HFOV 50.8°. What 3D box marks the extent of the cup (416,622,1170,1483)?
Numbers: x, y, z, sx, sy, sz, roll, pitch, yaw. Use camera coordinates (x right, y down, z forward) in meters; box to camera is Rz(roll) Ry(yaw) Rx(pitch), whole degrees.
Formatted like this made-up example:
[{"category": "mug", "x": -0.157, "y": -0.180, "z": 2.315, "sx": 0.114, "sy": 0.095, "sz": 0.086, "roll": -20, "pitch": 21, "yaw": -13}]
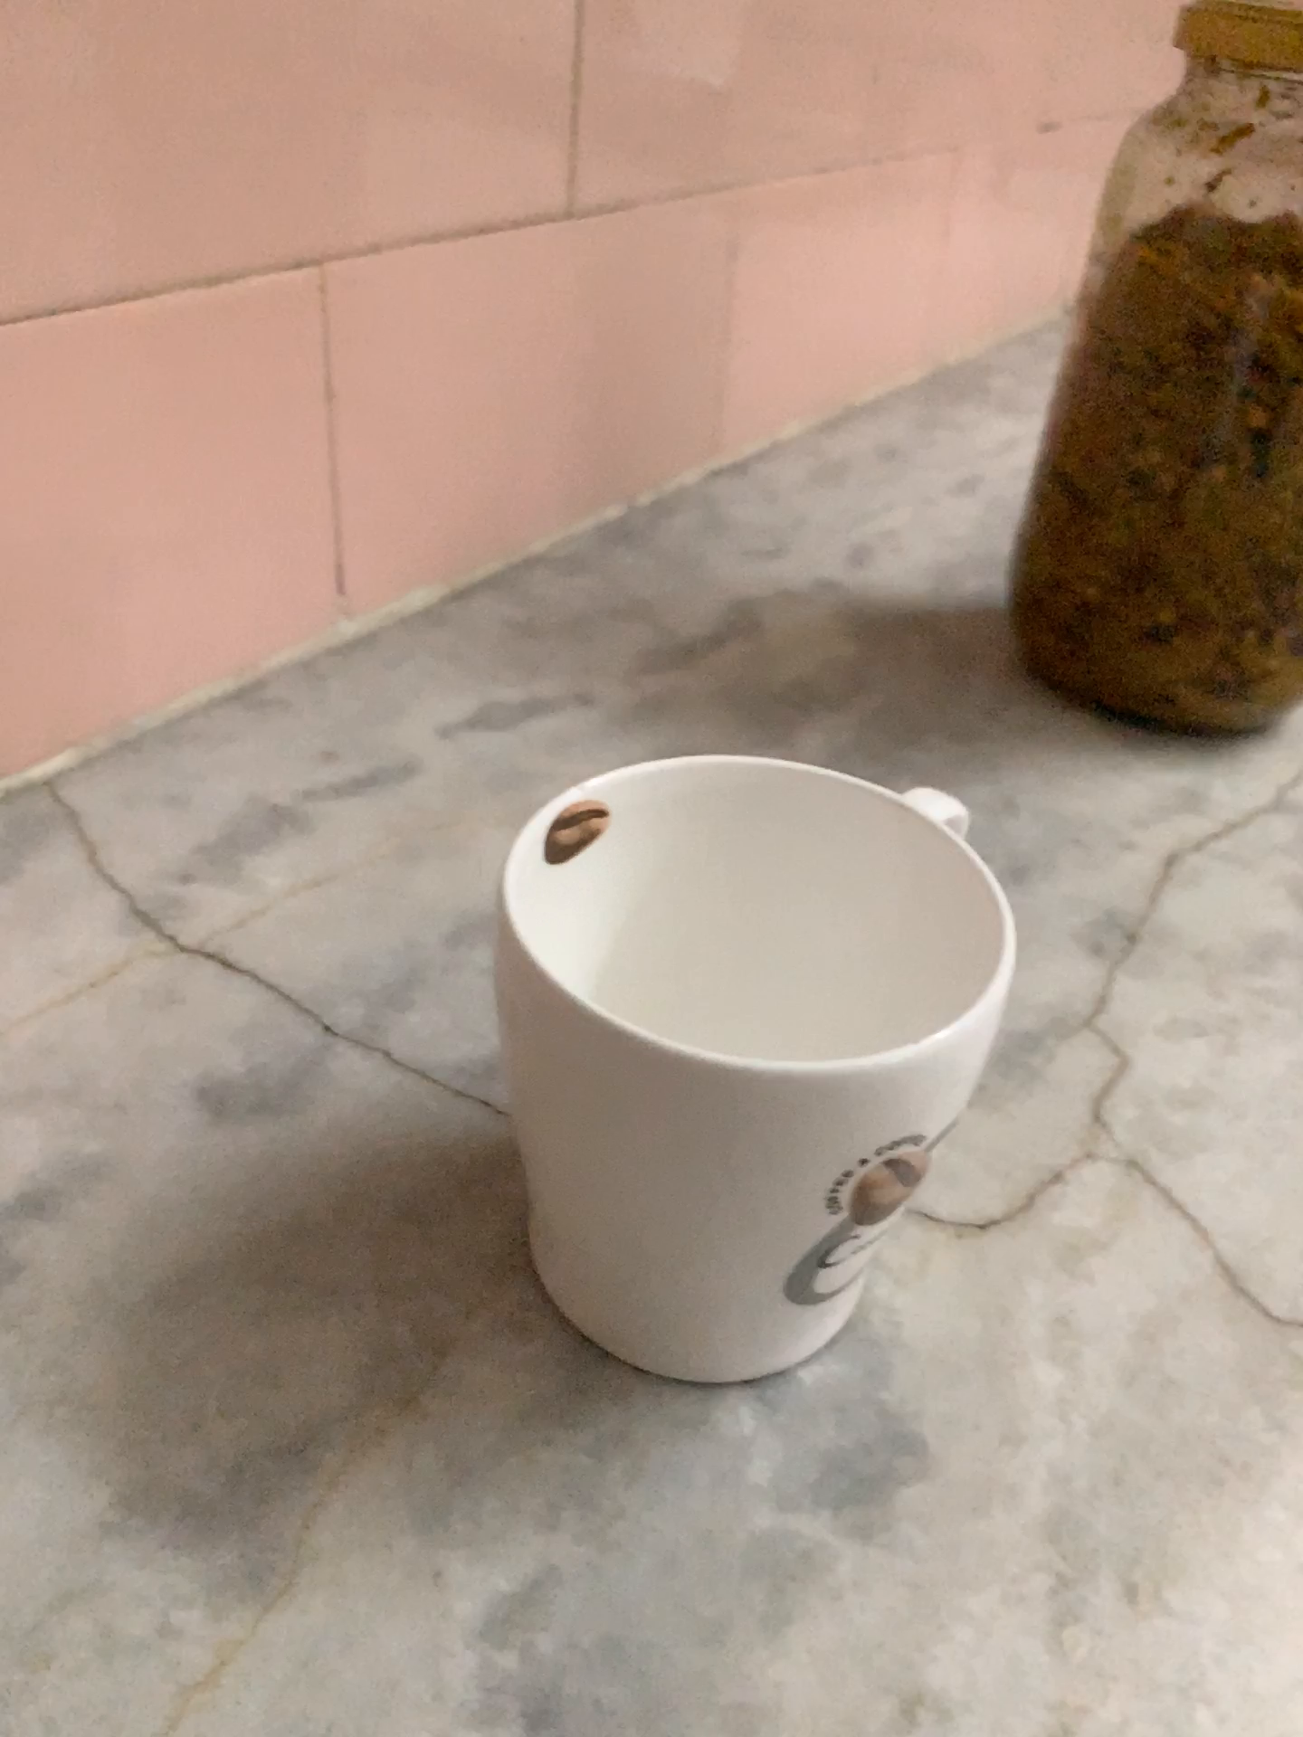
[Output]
[{"category": "cup", "x": 0.023, "y": 0.020, "z": 0.216, "sx": 0.070, "sy": 0.070, "sz": 0.100, "roll": 23, "pitch": 39, "yaw": 24}]
